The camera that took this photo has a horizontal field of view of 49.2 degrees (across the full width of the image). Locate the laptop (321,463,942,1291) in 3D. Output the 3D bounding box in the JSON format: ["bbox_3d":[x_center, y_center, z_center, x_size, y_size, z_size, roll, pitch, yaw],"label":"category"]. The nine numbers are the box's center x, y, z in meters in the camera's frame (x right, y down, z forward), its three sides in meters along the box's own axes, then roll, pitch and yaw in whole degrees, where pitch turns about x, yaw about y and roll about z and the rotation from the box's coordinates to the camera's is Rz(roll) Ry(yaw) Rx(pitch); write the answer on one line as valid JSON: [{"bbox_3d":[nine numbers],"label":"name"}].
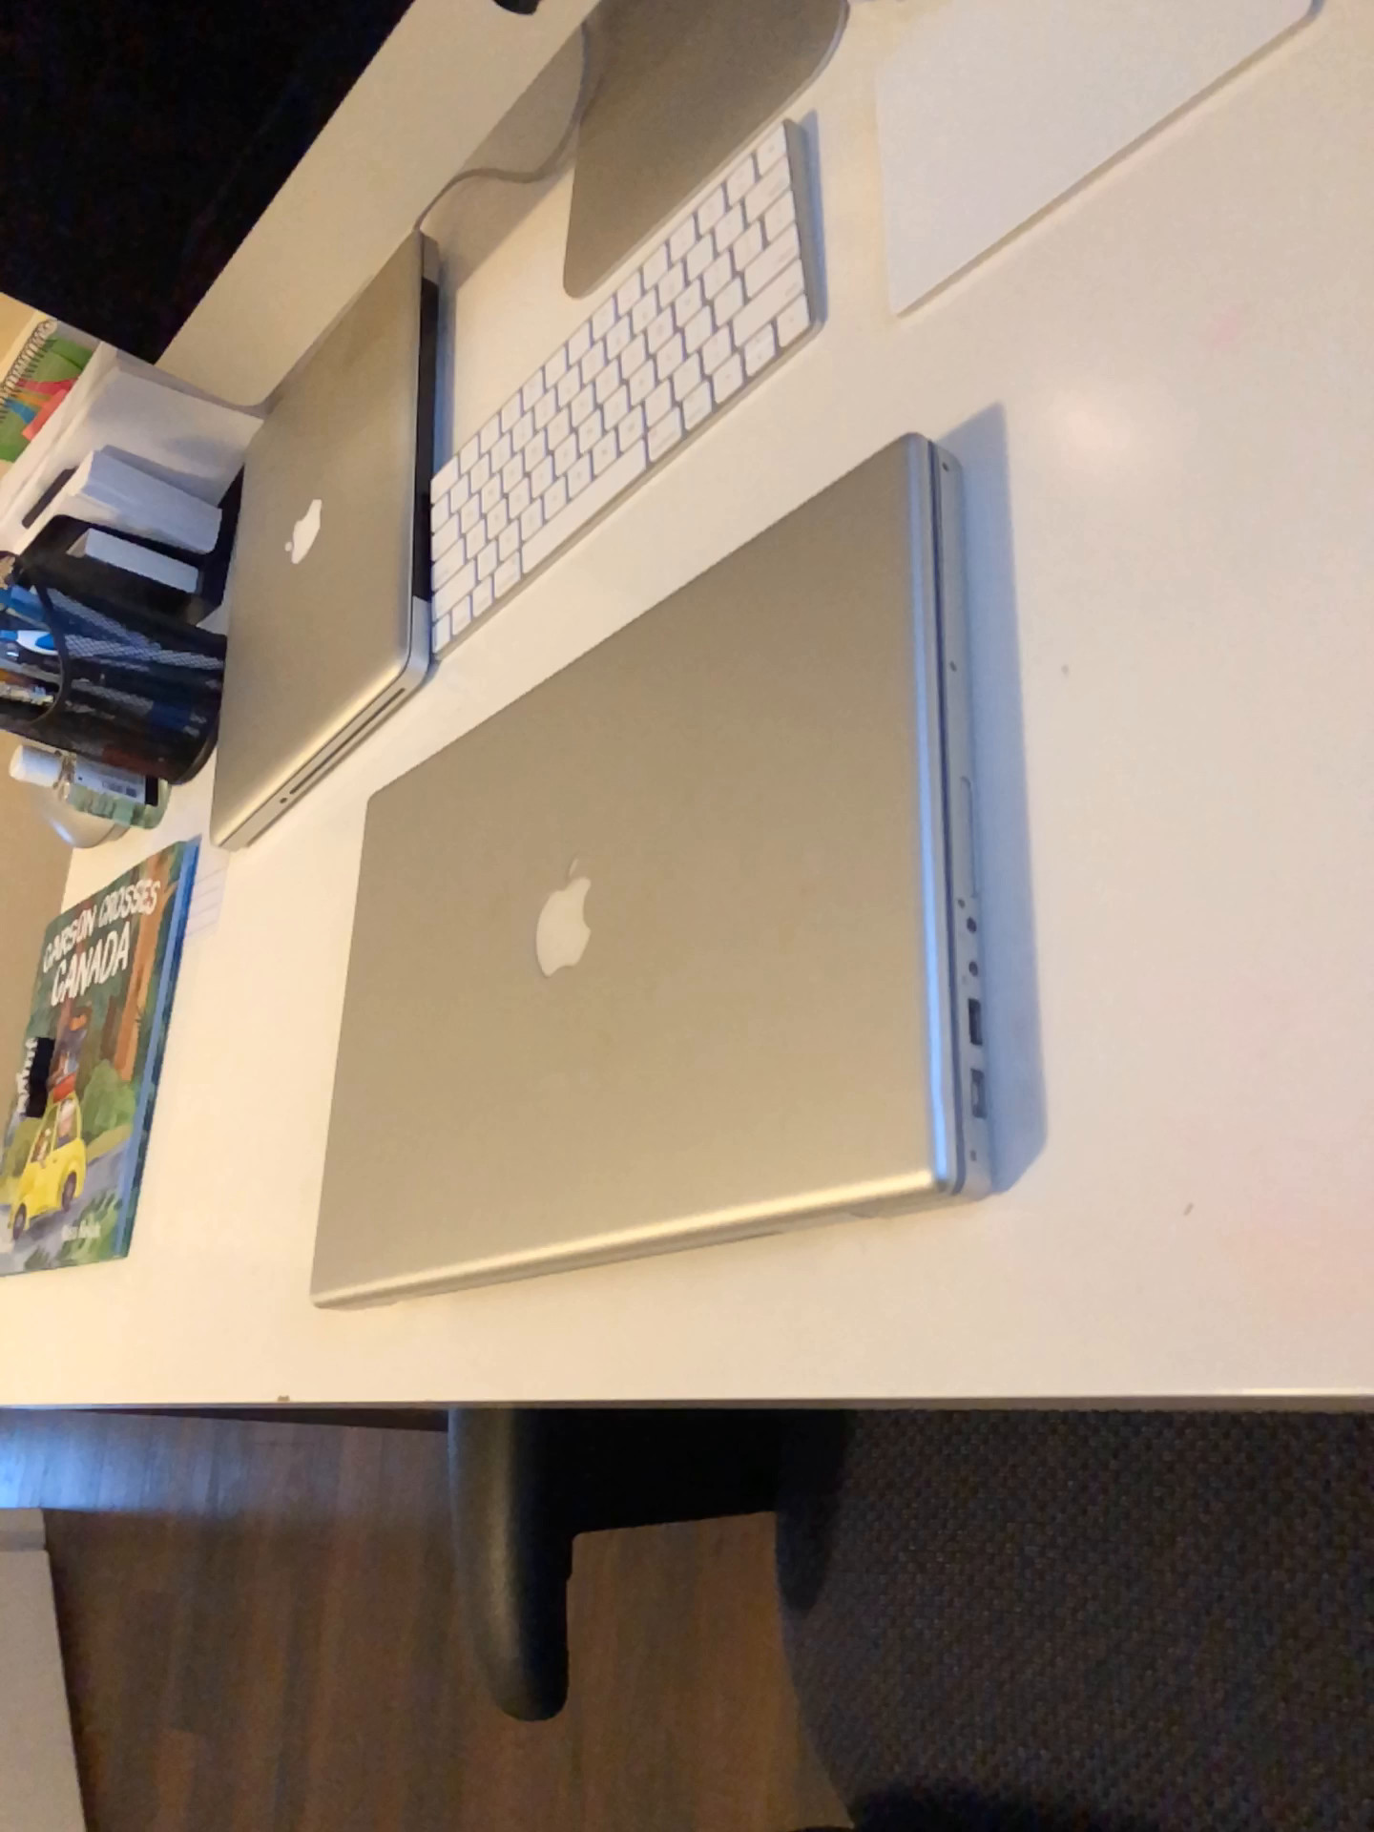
[{"bbox_3d":[-0.042,0.009,0.542,0.334,0.005,0.214,-22,60,46],"label":"laptop"}]

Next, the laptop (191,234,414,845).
[{"bbox_3d":[-0.222,-0.215,0.865,0.201,0.009,0.279,-28,57,40],"label":"laptop"}]
